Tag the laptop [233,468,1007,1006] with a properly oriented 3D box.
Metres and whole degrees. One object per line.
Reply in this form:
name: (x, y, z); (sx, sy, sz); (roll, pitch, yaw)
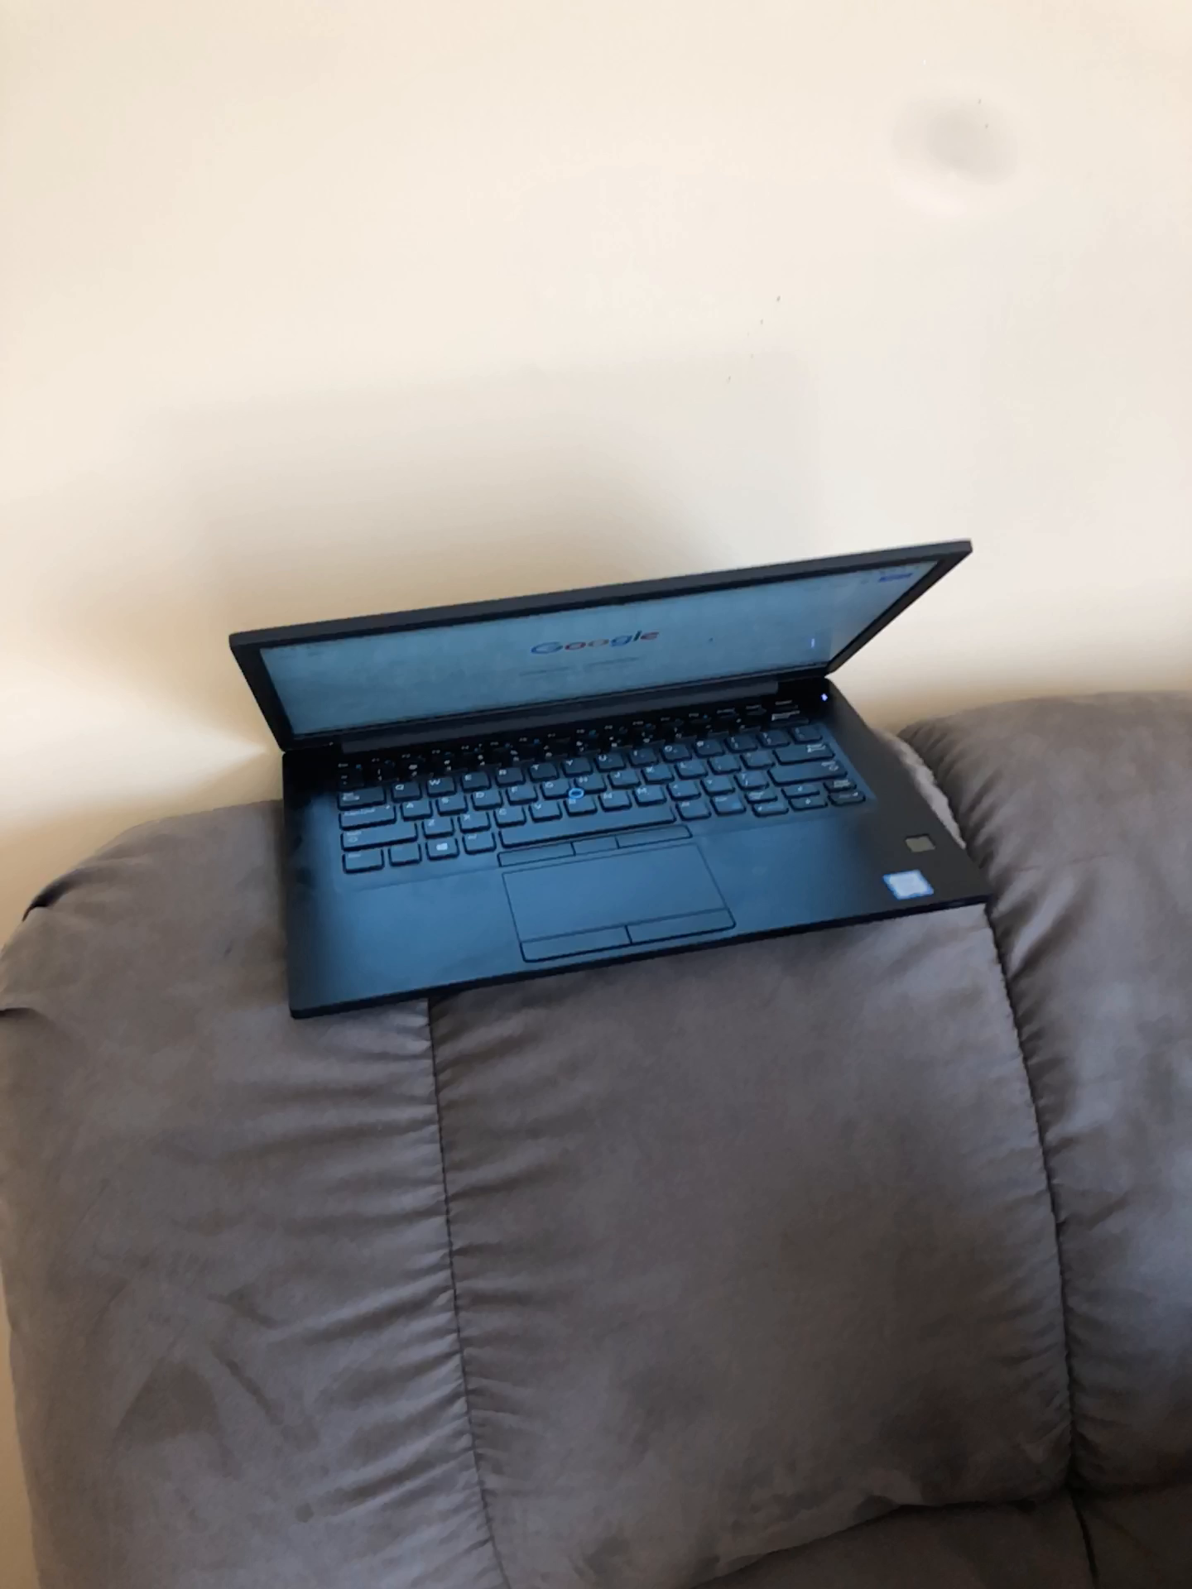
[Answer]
laptop: (-0.002, -0.046, 0.647); (0.321, 0.128, 0.214); (-8, 32, -9)
